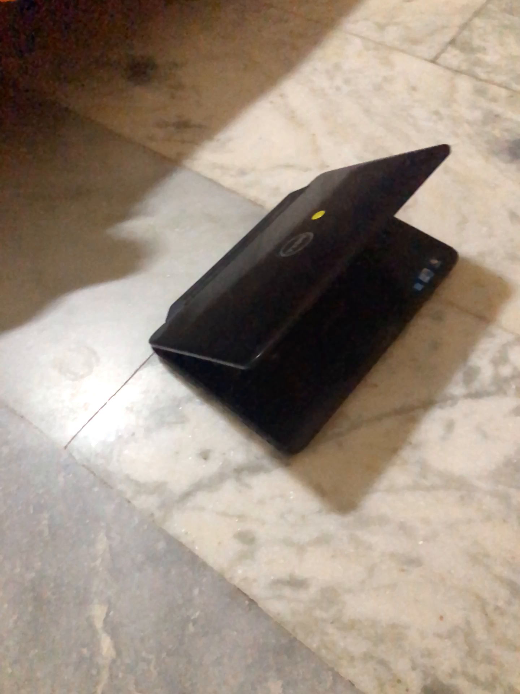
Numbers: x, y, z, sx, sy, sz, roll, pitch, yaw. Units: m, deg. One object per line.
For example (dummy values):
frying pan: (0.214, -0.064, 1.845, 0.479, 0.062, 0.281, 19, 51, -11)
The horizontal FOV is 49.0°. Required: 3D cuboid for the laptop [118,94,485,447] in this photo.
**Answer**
laptop: (0.058, -0.106, 0.684, 0.234, 0.161, 0.352, 32, 65, 22)
